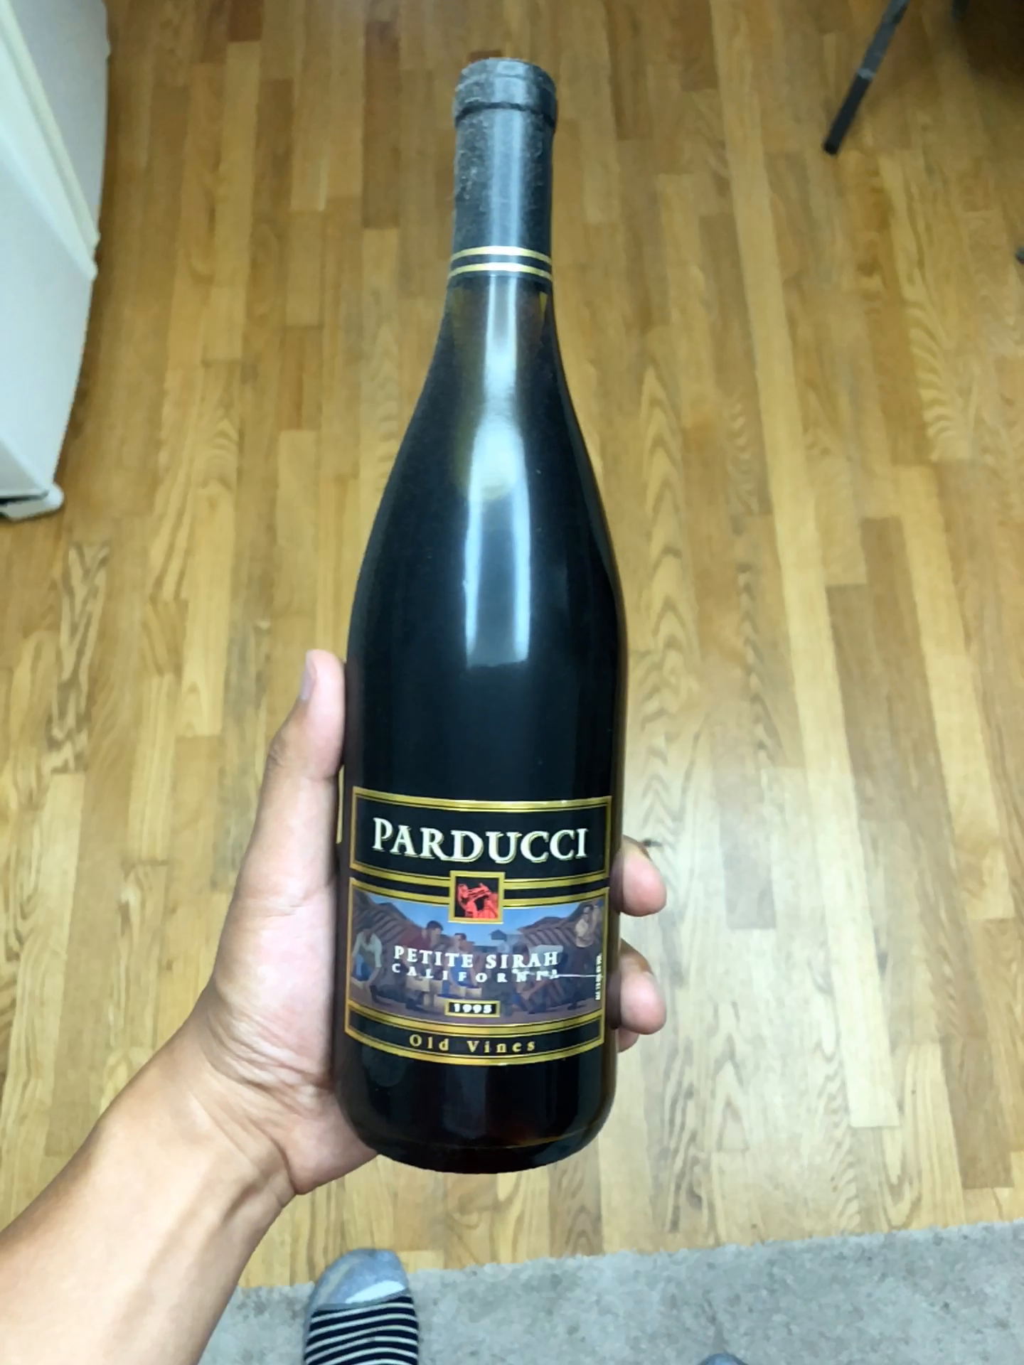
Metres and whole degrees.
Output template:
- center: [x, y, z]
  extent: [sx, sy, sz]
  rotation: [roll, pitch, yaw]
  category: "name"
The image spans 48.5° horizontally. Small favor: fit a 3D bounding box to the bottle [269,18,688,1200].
- center: [-0.010, -0.014, 0.307]
  extent: [0.090, 0.070, 0.280]
  rotation: [2, 97, 1]
  category: "bottle"
